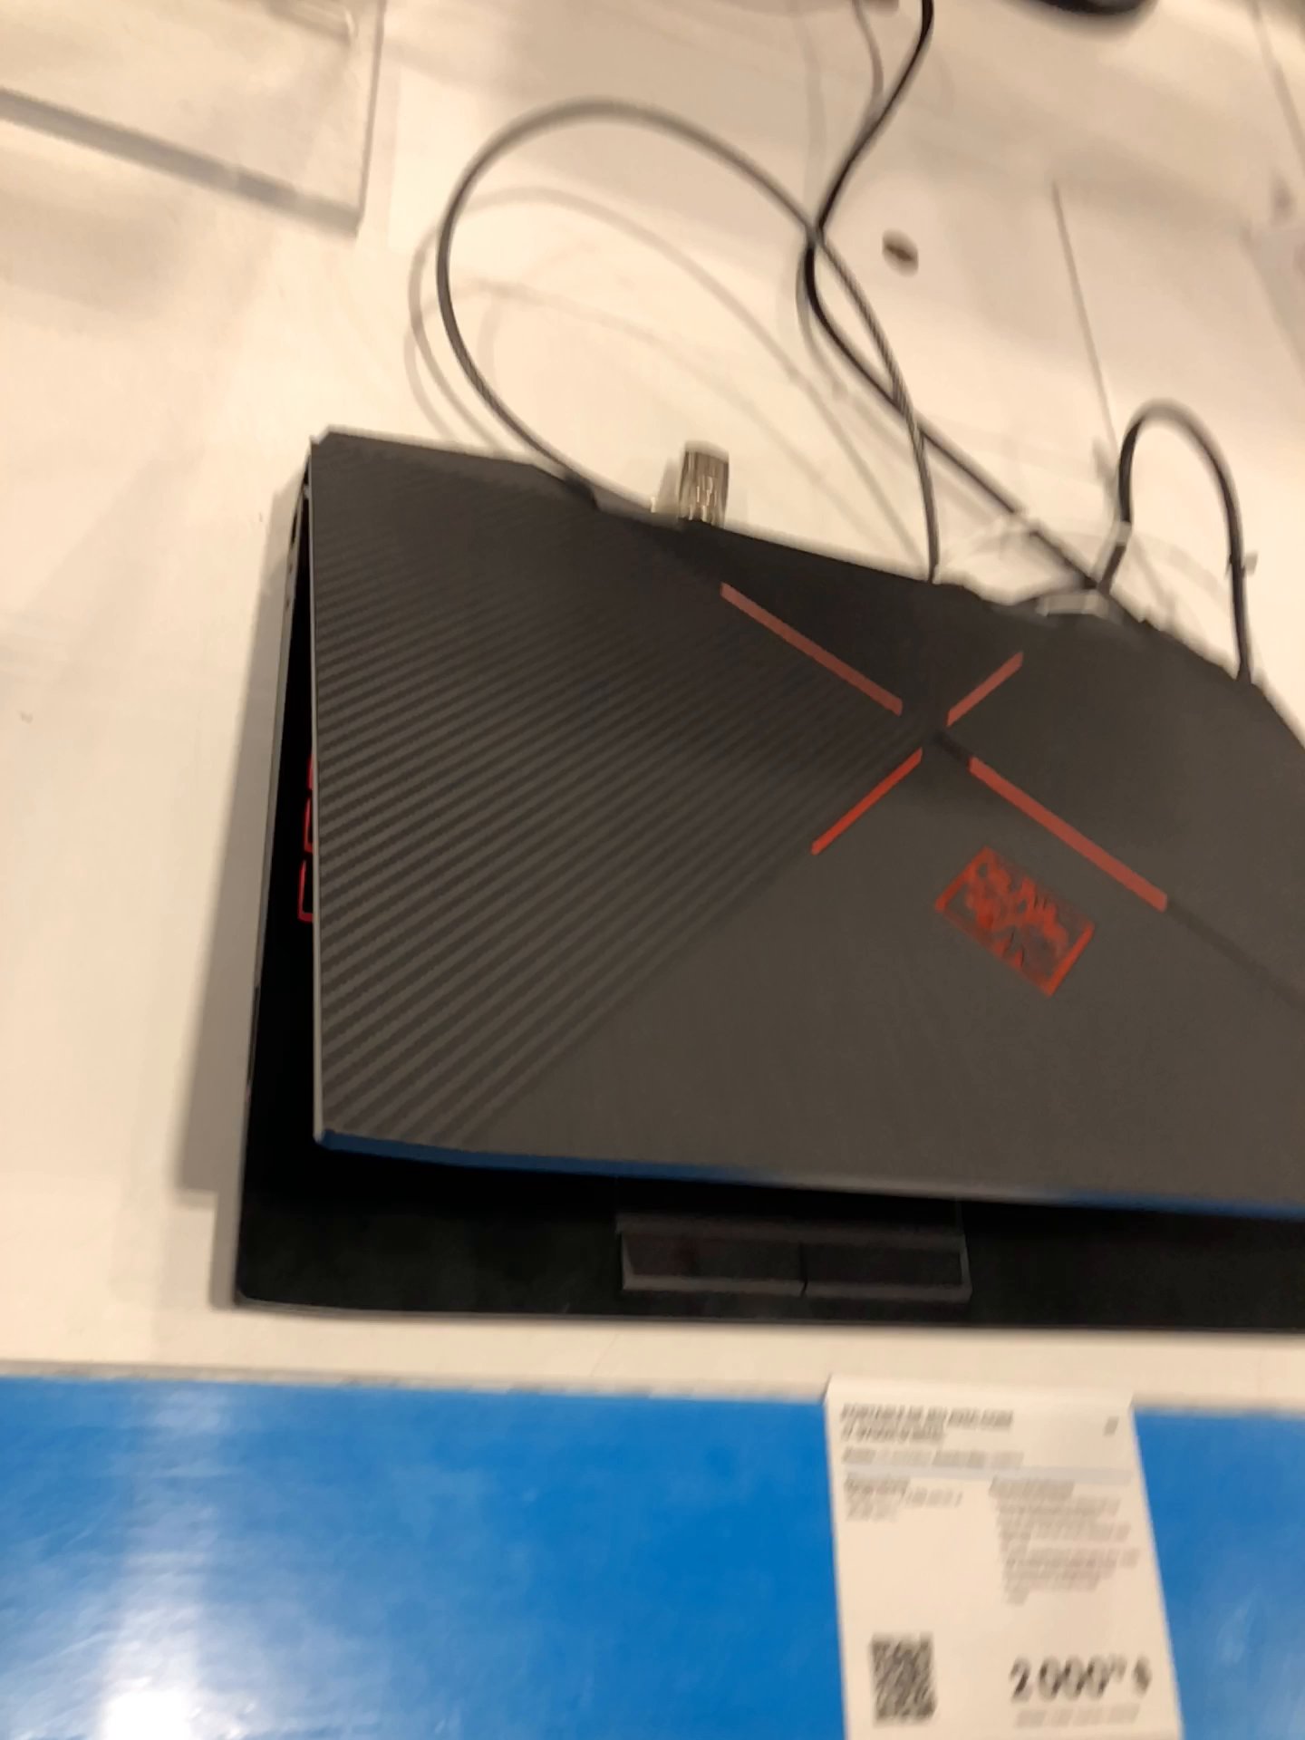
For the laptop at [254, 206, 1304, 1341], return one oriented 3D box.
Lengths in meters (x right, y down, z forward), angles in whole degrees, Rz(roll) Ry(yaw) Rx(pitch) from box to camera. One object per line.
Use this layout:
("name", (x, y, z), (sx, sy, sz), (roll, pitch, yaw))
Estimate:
("laptop", (0.085, -0.009, 0.391), (0.346, 0.085, 0.235), (10, 60, -22))
